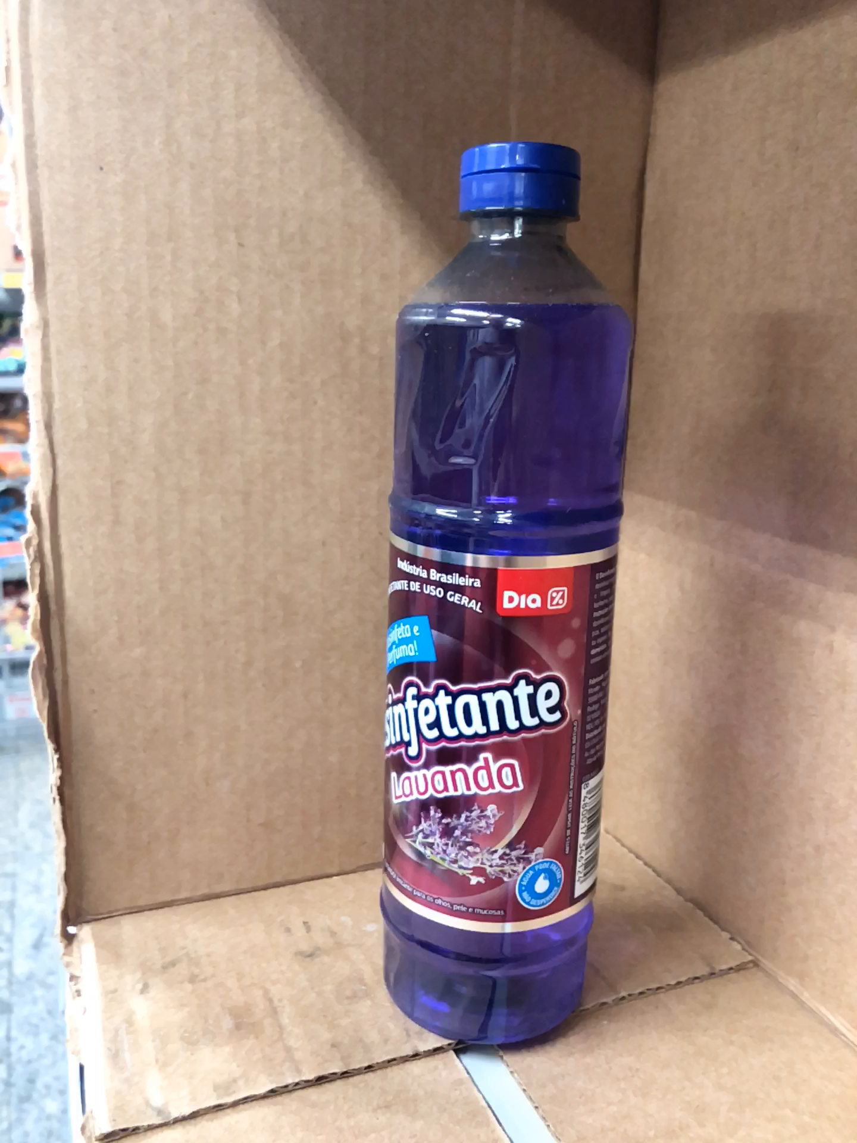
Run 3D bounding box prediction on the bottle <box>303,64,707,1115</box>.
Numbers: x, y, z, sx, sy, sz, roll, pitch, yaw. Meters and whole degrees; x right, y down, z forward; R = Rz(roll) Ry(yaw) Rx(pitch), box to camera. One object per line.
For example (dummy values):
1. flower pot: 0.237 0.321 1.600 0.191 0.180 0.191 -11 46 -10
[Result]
1. bottle: 0.019 0.007 0.258 0.070 0.239 0.070 0 14 0
